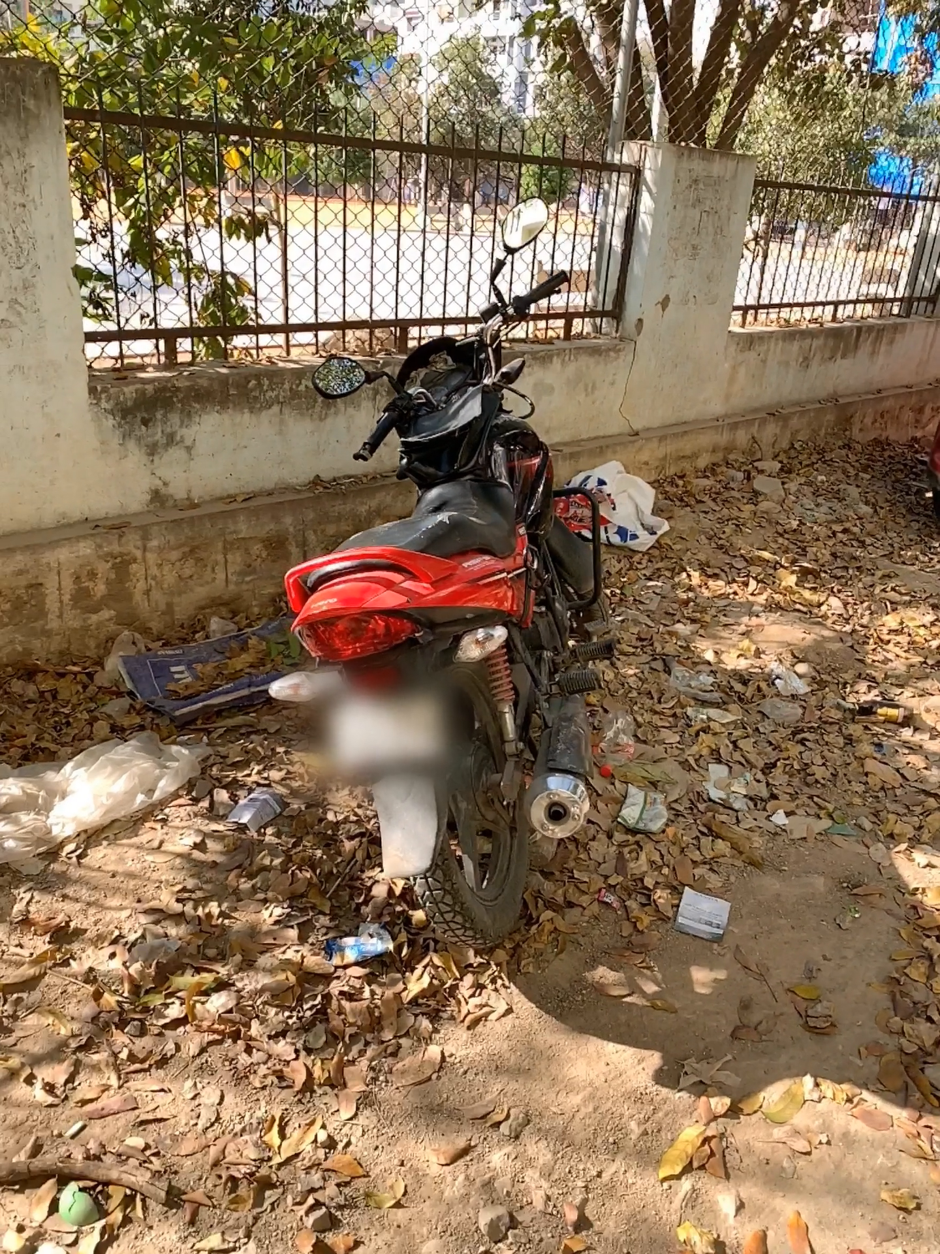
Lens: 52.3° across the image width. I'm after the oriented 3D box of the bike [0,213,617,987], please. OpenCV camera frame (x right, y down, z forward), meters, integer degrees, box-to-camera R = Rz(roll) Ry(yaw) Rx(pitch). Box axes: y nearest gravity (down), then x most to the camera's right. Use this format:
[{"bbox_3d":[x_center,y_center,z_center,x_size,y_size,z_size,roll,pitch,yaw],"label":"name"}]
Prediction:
[{"bbox_3d":[-0.170,-0.209,2.044,0.822,1.067,1.295,6,27,5],"label":"bike"}]
